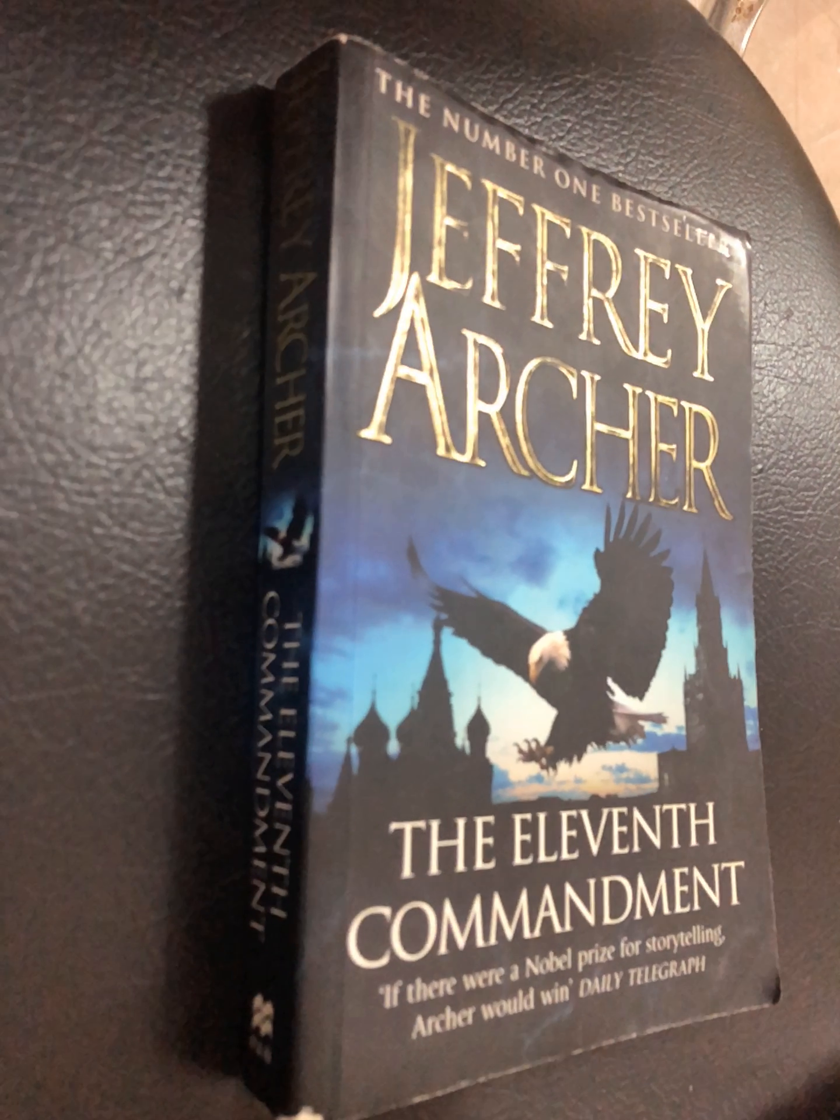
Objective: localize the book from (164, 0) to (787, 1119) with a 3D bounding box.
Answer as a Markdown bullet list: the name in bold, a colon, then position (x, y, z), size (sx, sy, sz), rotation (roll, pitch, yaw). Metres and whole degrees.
- **book**: position (0.024, -0.006, 0.198), size (0.131, 0.040, 0.200), rotation (9, 79, -39)
